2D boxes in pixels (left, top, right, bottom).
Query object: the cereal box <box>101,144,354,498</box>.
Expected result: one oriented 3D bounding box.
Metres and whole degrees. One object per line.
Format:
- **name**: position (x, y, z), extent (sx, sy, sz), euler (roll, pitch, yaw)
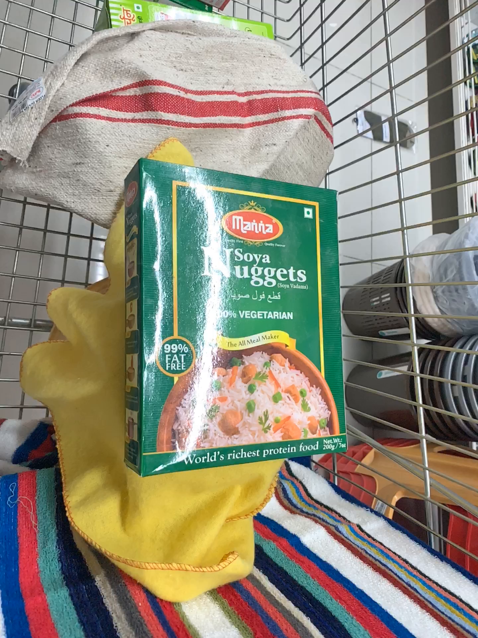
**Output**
- **cereal box**: position (-0.008, 0.002, 0.339), extent (0.160, 0.060, 0.200), euler (1, 85, -26)
